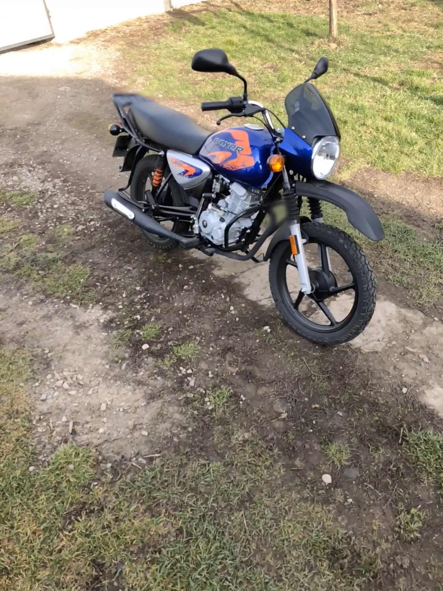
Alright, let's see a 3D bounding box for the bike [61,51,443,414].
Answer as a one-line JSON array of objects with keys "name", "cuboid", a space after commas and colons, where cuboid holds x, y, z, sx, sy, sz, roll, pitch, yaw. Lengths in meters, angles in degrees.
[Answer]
[{"name": "bike", "cuboid": [0.074, -0.495, 2.515, 0.810, 1.049, 1.785, -30, 45, -29]}]
